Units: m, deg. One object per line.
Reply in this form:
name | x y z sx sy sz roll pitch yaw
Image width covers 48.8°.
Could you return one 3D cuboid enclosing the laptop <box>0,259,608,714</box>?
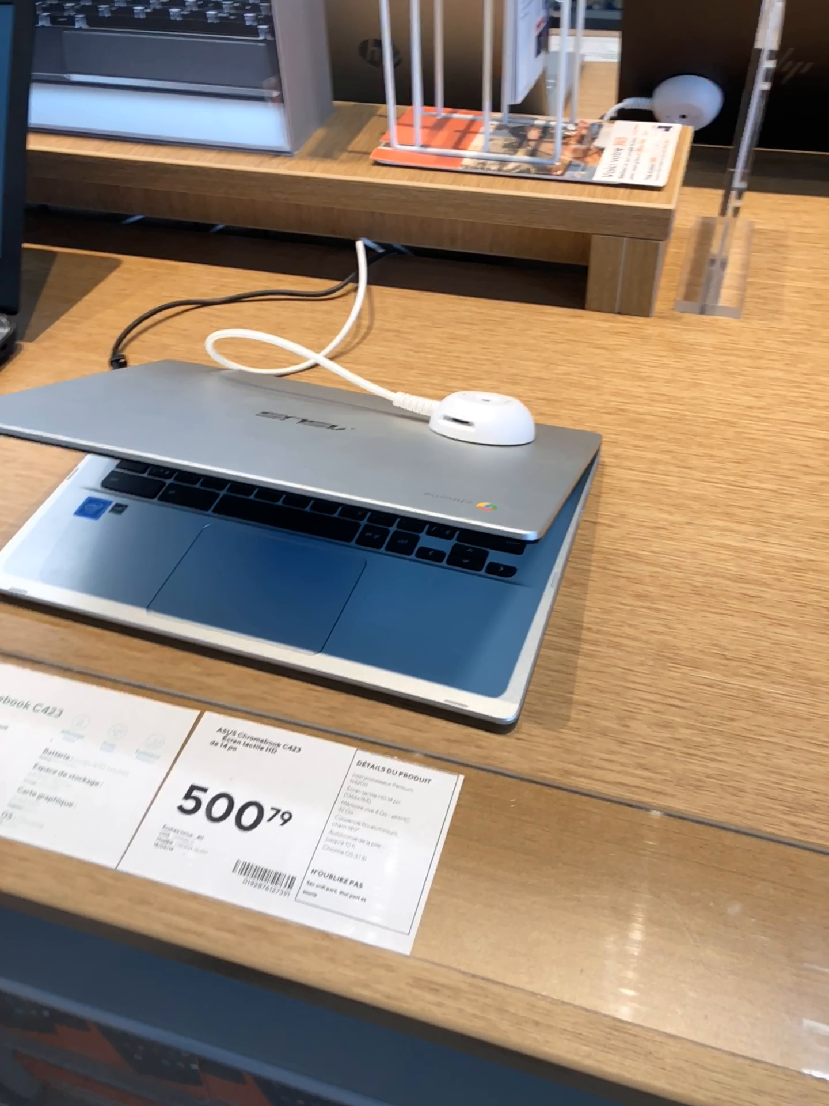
laptop | -0.066 -0.055 0.518 0.304 0.080 0.206 13 50 13
